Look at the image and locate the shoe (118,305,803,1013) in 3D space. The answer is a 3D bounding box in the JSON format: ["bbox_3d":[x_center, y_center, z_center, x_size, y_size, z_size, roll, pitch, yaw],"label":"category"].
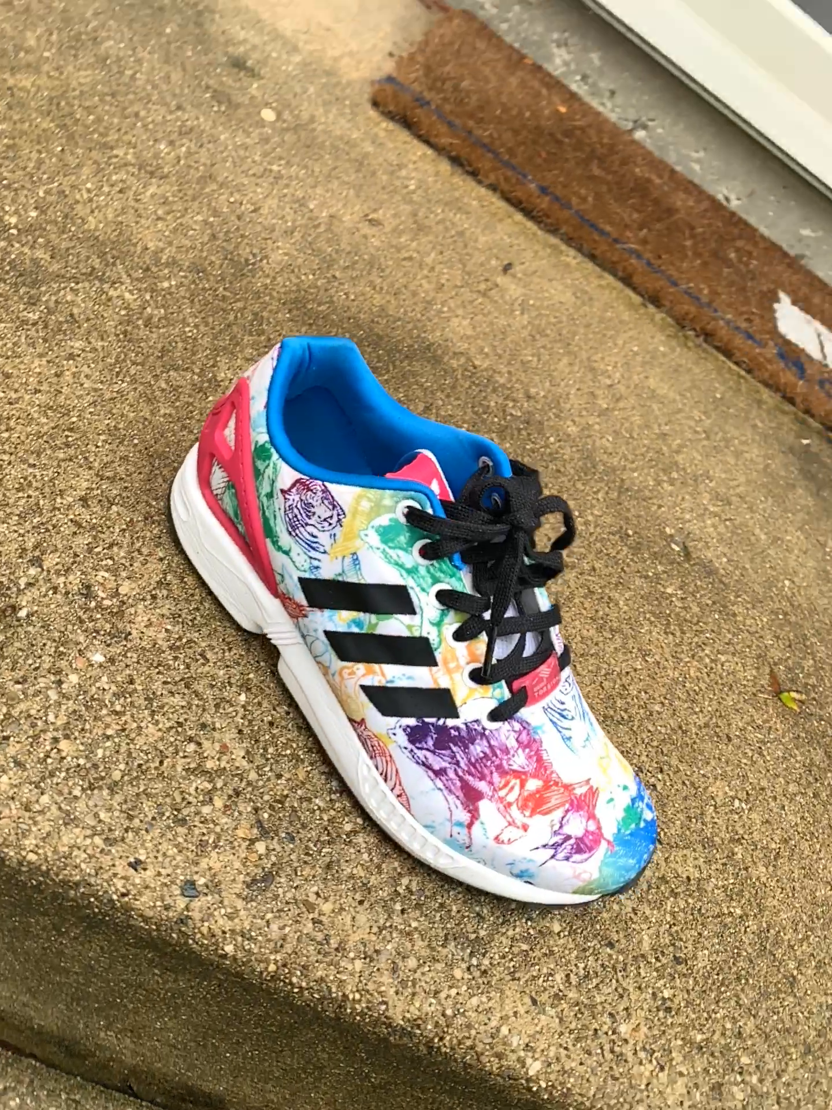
[{"bbox_3d":[0.015,0.031,0.346,0.245,0.104,0.110,48,39,8],"label":"shoe"}]
